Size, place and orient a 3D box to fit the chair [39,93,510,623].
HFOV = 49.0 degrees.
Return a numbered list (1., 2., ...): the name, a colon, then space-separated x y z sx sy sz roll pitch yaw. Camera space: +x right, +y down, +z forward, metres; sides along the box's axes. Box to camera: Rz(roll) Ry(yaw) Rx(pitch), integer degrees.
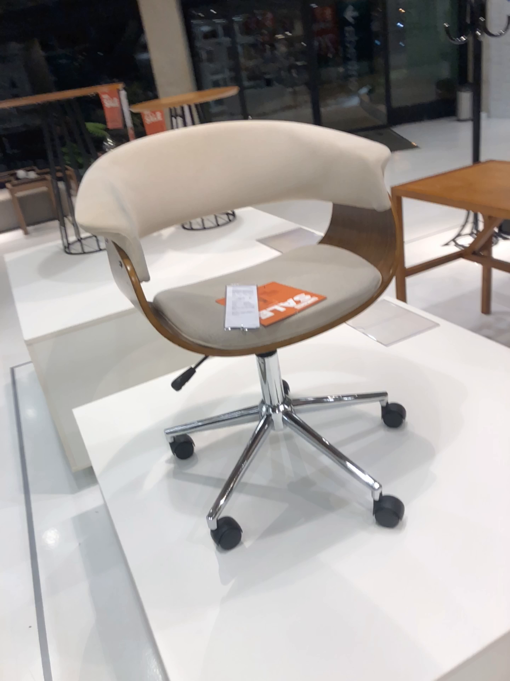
1. chair: 0.025 -0.062 1.178 0.631 0.725 0.674 -20 27 -20
